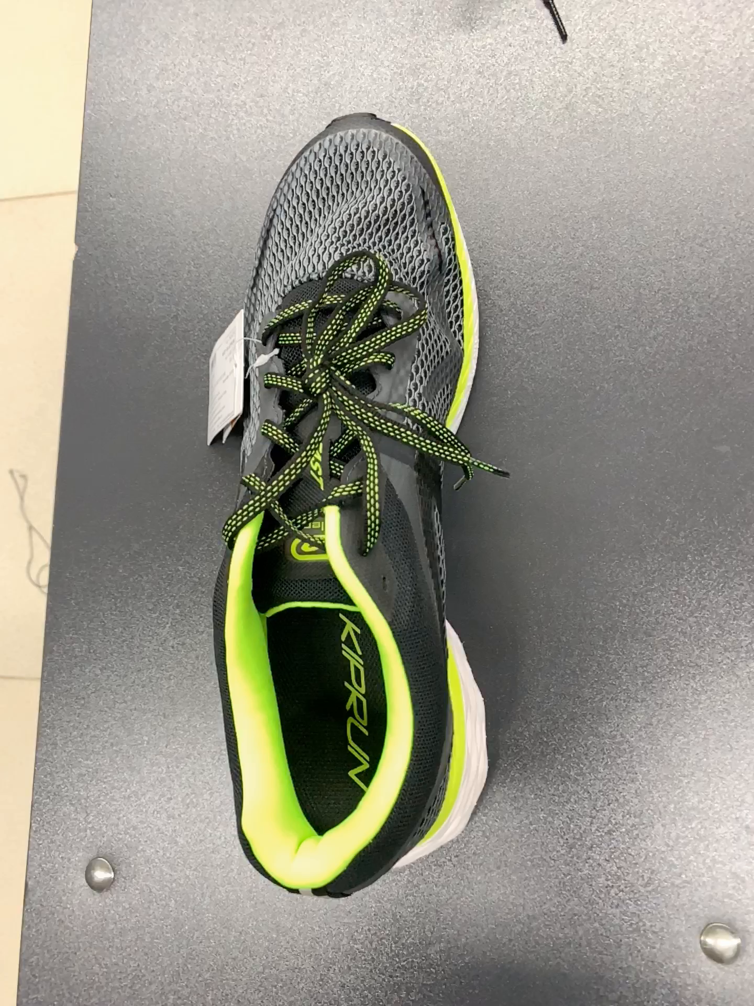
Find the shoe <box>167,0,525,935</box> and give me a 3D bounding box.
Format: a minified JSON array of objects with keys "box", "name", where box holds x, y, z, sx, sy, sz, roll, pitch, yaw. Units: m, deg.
[{"box":[-0.005,-0.016,0.315,0.110,0.110,0.310,-3,82,13],"name":"shoe"}]
